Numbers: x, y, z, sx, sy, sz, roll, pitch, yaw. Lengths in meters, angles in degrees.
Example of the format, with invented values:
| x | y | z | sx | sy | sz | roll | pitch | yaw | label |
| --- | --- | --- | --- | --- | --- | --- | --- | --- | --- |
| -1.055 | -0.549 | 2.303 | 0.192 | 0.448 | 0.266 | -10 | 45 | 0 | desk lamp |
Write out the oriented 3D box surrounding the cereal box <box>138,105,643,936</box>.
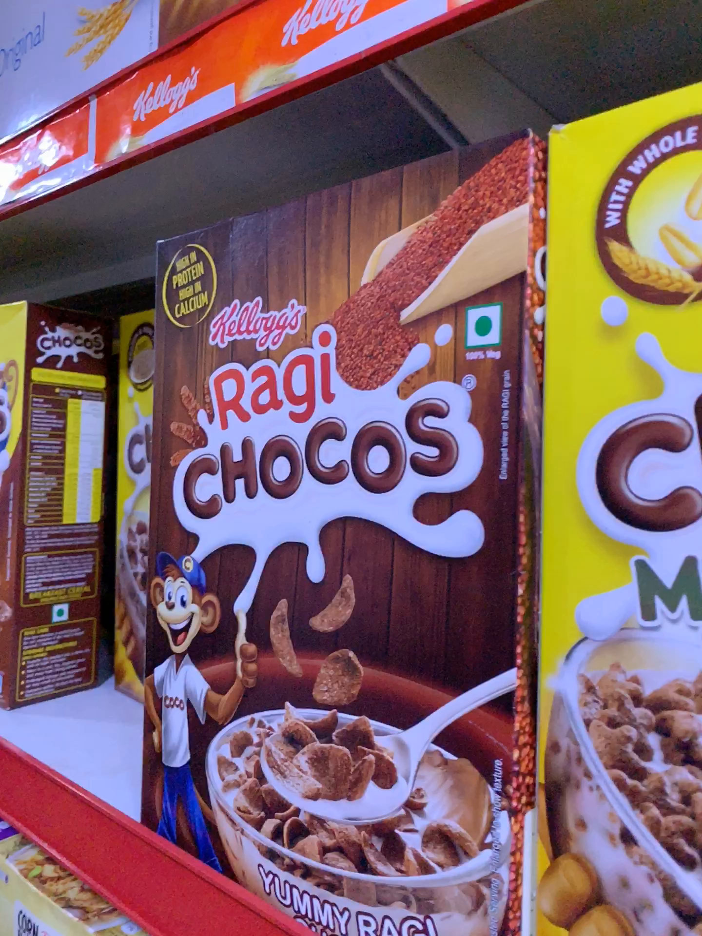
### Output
| x | y | z | sx | sy | sz | roll | pitch | yaw | label |
| --- | --- | --- | --- | --- | --- | --- | --- | --- | --- |
| 0.000 | 0.030 | 0.260 | 0.180 | 0.240 | 0.060 | 1 | 0 | 44 | cereal box |
